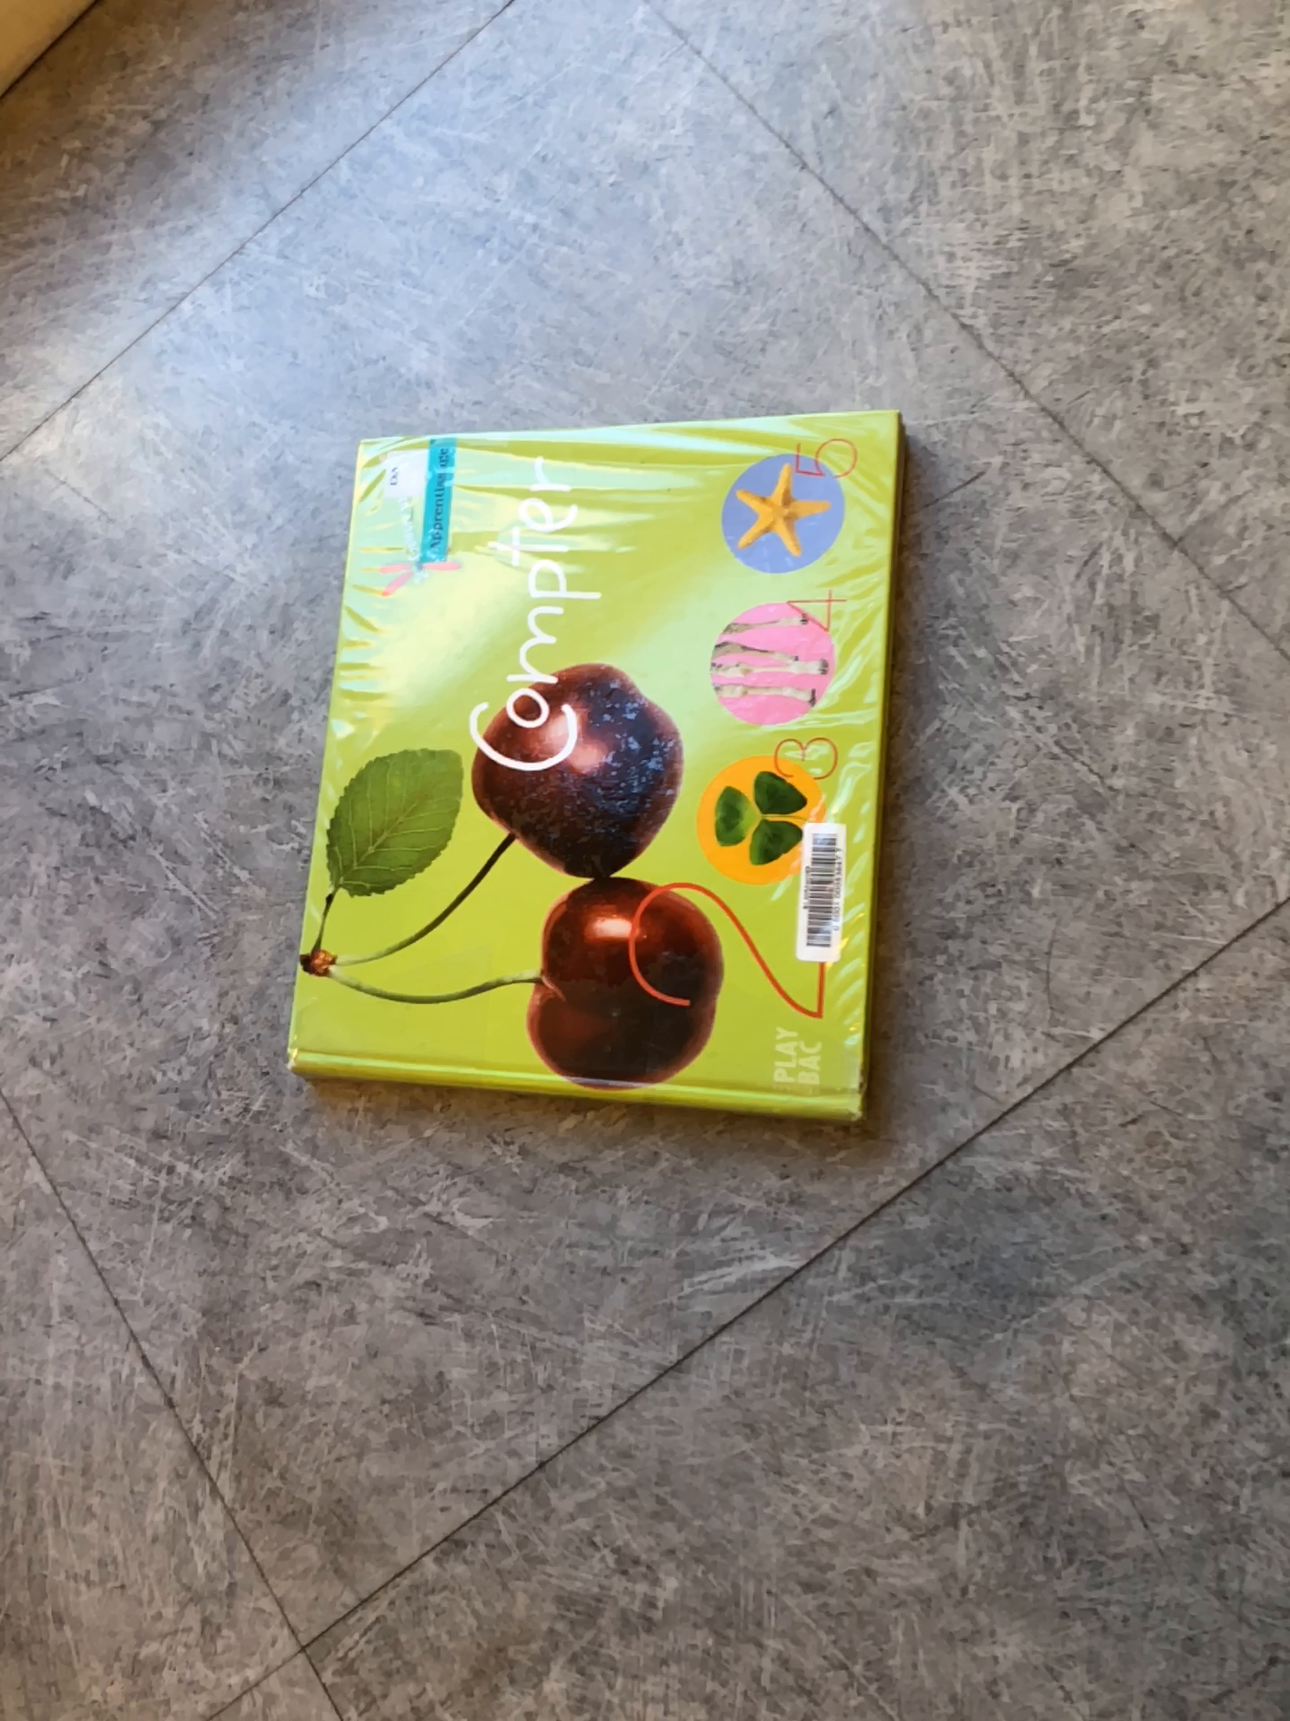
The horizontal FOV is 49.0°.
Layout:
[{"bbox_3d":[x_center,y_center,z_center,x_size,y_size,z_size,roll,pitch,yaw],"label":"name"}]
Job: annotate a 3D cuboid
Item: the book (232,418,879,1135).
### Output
[{"bbox_3d":[-0.033,-0.037,0.528,0.222,0.021,0.255,3,81,14],"label":"book"}]
